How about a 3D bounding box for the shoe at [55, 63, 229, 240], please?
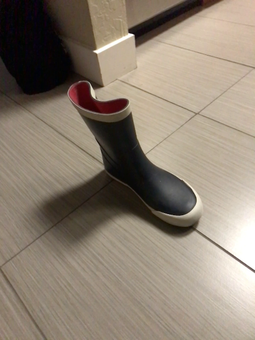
[{"bbox_3d":[0.023,-0.040,0.514,0.279,0.217,0.102,32,62,33],"label":"shoe"}]
